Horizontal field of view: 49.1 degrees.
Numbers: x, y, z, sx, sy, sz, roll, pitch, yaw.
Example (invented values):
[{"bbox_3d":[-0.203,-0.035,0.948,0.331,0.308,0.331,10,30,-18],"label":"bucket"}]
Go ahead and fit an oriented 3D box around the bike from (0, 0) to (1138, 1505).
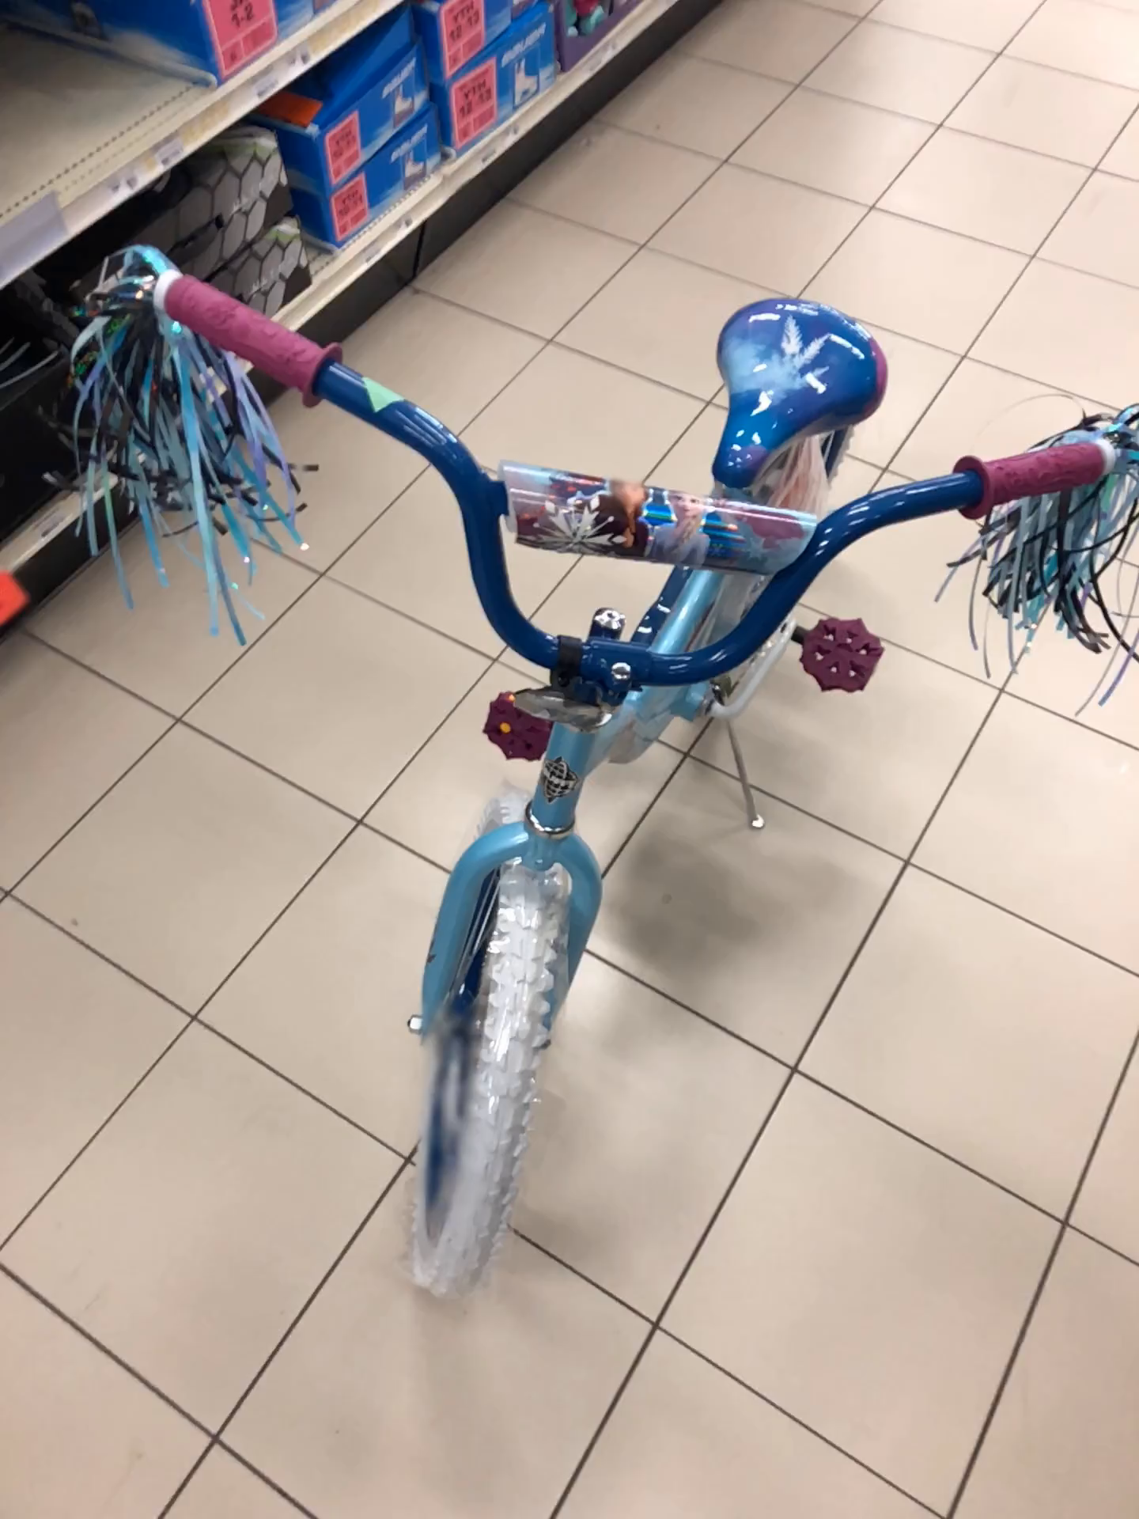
[{"bbox_3d":[0.138,-0.135,1.114,0.641,0.954,1.178,18,55,14],"label":"bike"}]
